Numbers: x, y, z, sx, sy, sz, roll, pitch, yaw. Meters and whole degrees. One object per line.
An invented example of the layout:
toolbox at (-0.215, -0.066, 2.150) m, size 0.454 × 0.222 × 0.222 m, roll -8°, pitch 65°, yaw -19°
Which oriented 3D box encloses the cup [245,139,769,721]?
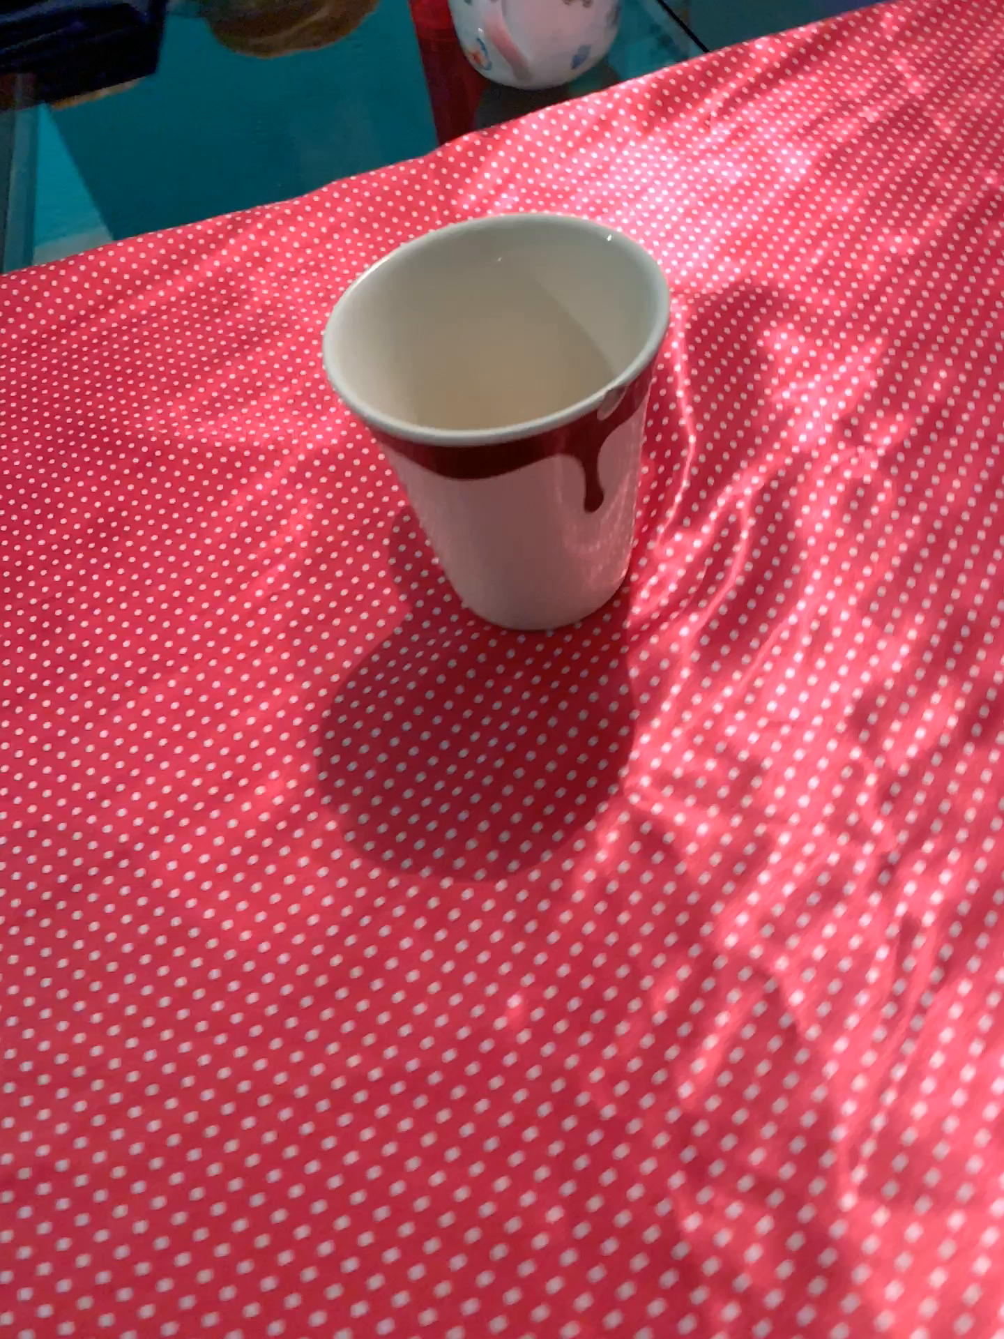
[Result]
cup at (0.001, -0.077, 0.322) m, size 0.100 × 0.090 × 0.131 m, roll -26°, pitch 54°, yaw -8°
